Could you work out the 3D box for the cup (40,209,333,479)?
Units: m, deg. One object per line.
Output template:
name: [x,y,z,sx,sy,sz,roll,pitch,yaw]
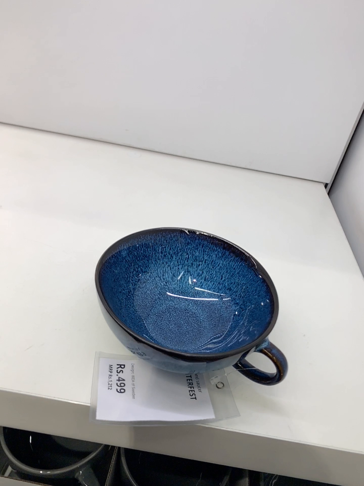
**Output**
cup: [0.005,0.050,0.274,0.160,0.050,0.130,29,39,24]
